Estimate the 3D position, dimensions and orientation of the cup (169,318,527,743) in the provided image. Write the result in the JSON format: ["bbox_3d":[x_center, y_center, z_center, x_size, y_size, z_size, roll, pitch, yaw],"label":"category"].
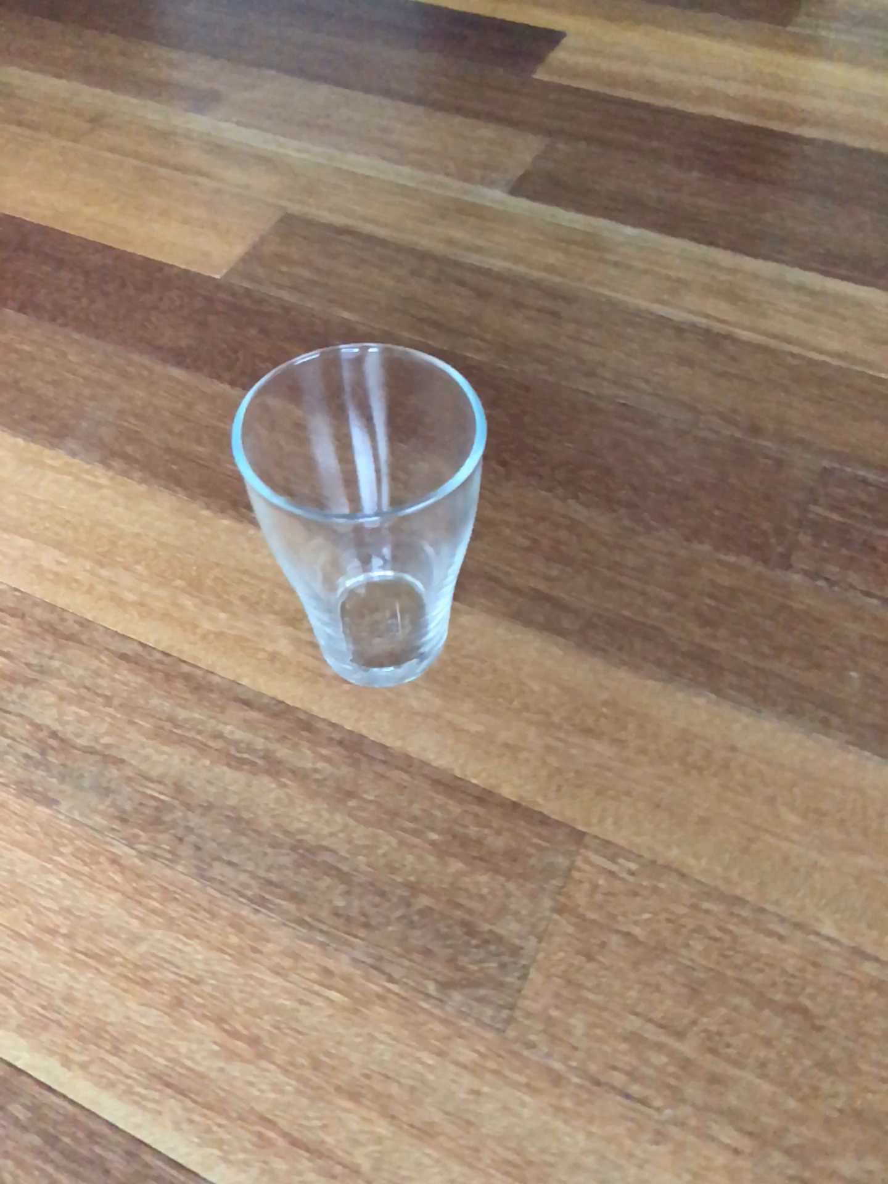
[{"bbox_3d":[-0.027,-0.021,0.360,0.090,0.109,0.090,0,53,0],"label":"cup"}]
